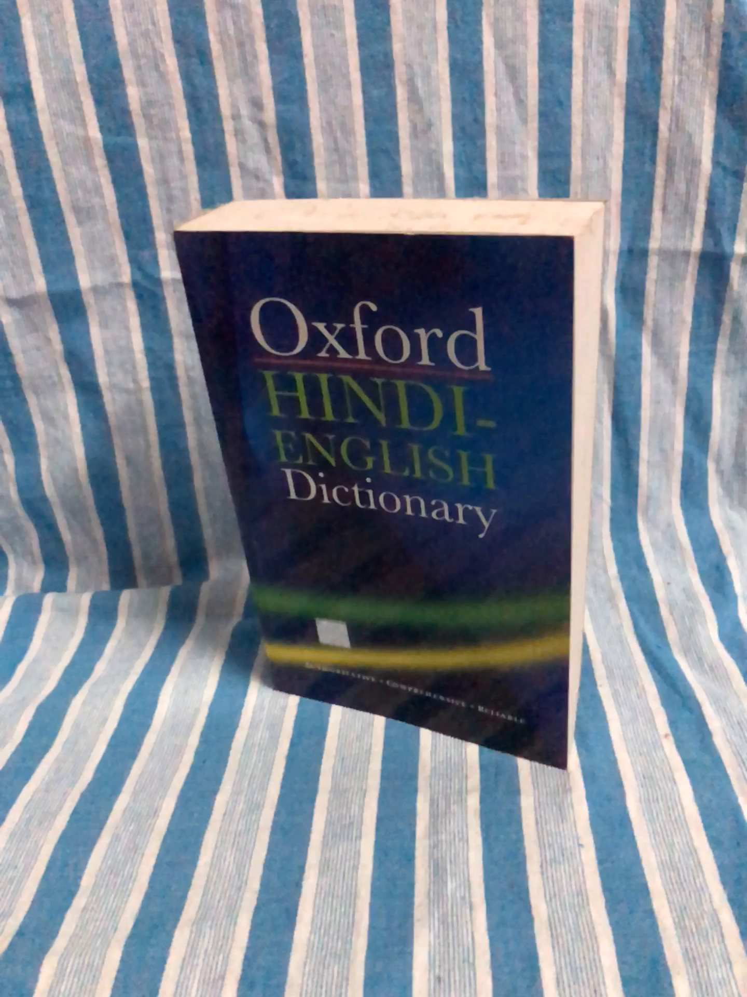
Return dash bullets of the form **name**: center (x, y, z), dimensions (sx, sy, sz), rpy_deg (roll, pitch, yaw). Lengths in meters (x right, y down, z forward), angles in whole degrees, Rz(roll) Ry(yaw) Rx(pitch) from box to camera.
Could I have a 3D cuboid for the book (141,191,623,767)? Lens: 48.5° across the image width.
- **book**: center (0.010, -0.004, 0.308), dimensions (0.140, 0.199, 0.050), rpy_deg (9, 36, 22)
